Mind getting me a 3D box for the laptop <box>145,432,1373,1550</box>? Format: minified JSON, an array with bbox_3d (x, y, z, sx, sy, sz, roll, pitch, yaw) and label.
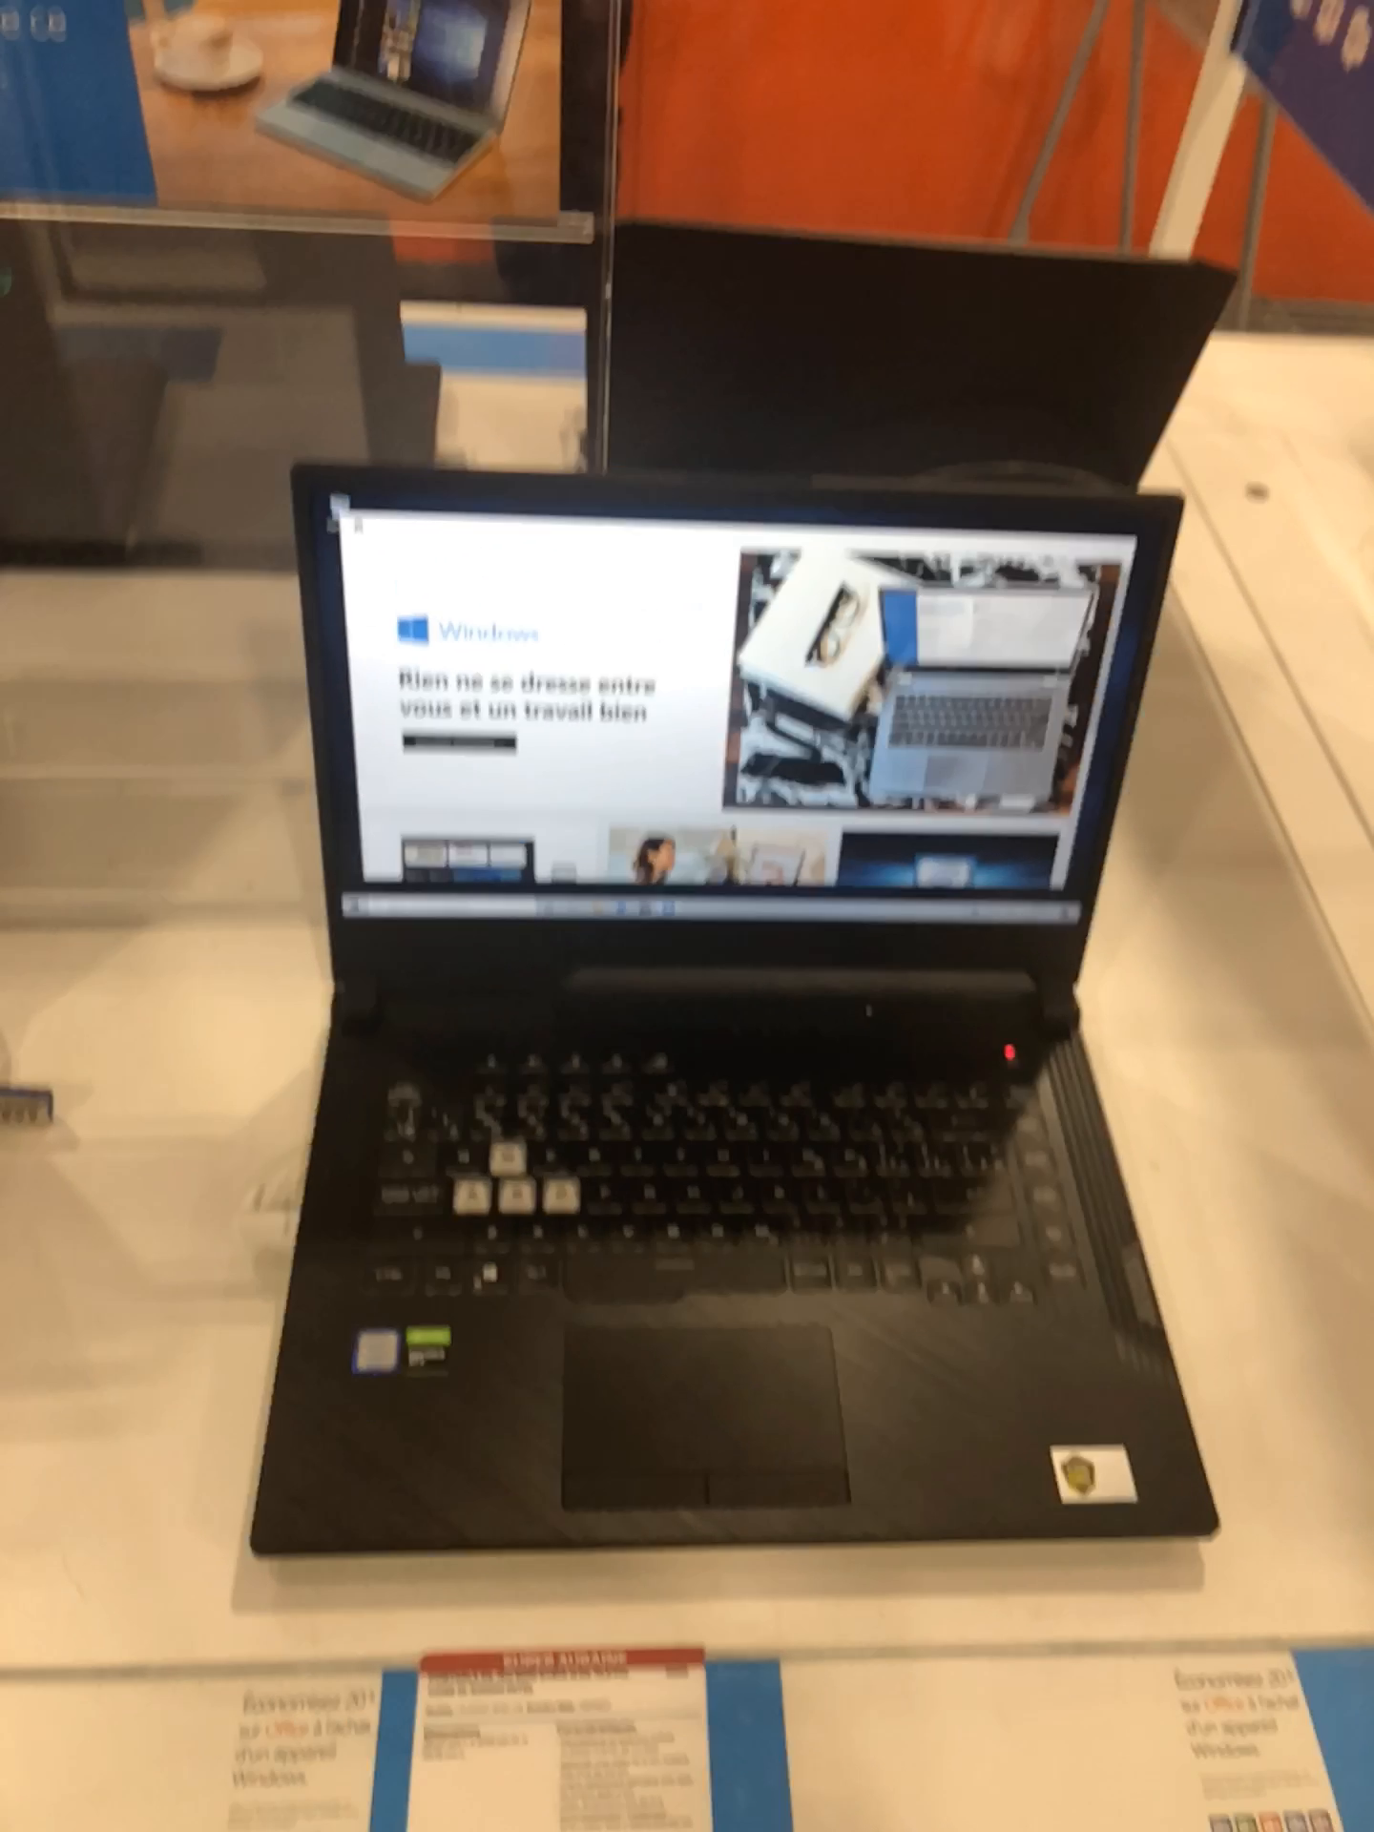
[{"bbox_3d":[0.026,0.017,0.608,0.363,0.236,0.345,0,49,-4],"label":"laptop"}]
